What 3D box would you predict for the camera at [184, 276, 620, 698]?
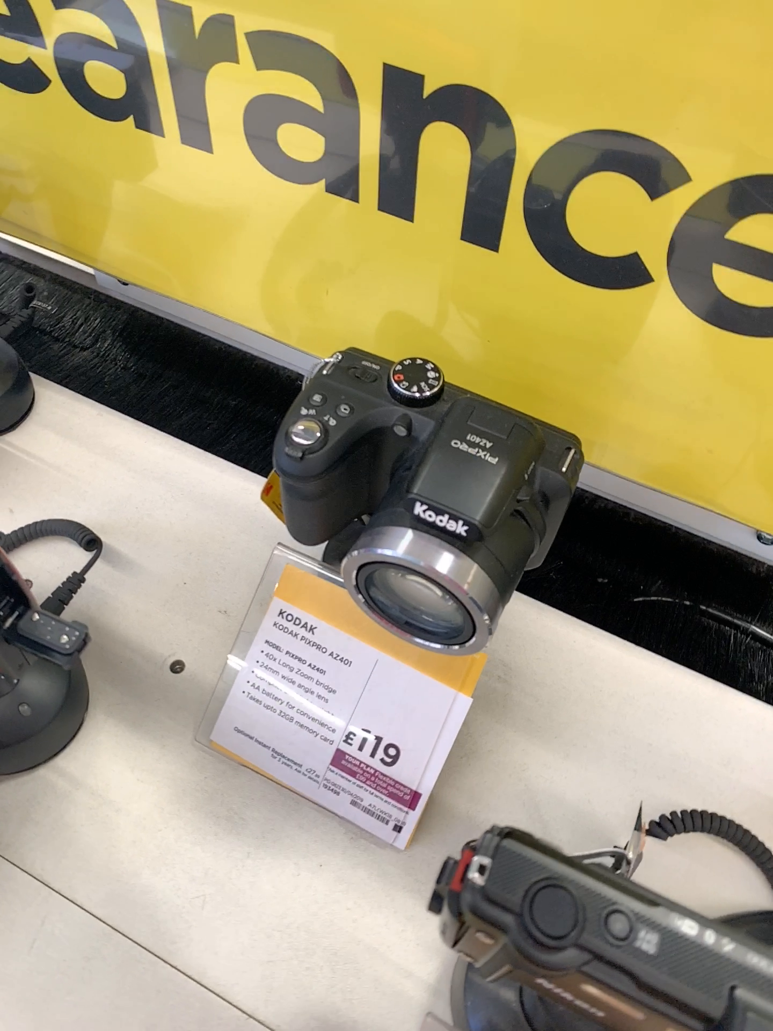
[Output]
[{"bbox_3d":[0.006,-0.011,0.323,0.130,0.099,0.091,23,56,13],"label":"camera"}]
